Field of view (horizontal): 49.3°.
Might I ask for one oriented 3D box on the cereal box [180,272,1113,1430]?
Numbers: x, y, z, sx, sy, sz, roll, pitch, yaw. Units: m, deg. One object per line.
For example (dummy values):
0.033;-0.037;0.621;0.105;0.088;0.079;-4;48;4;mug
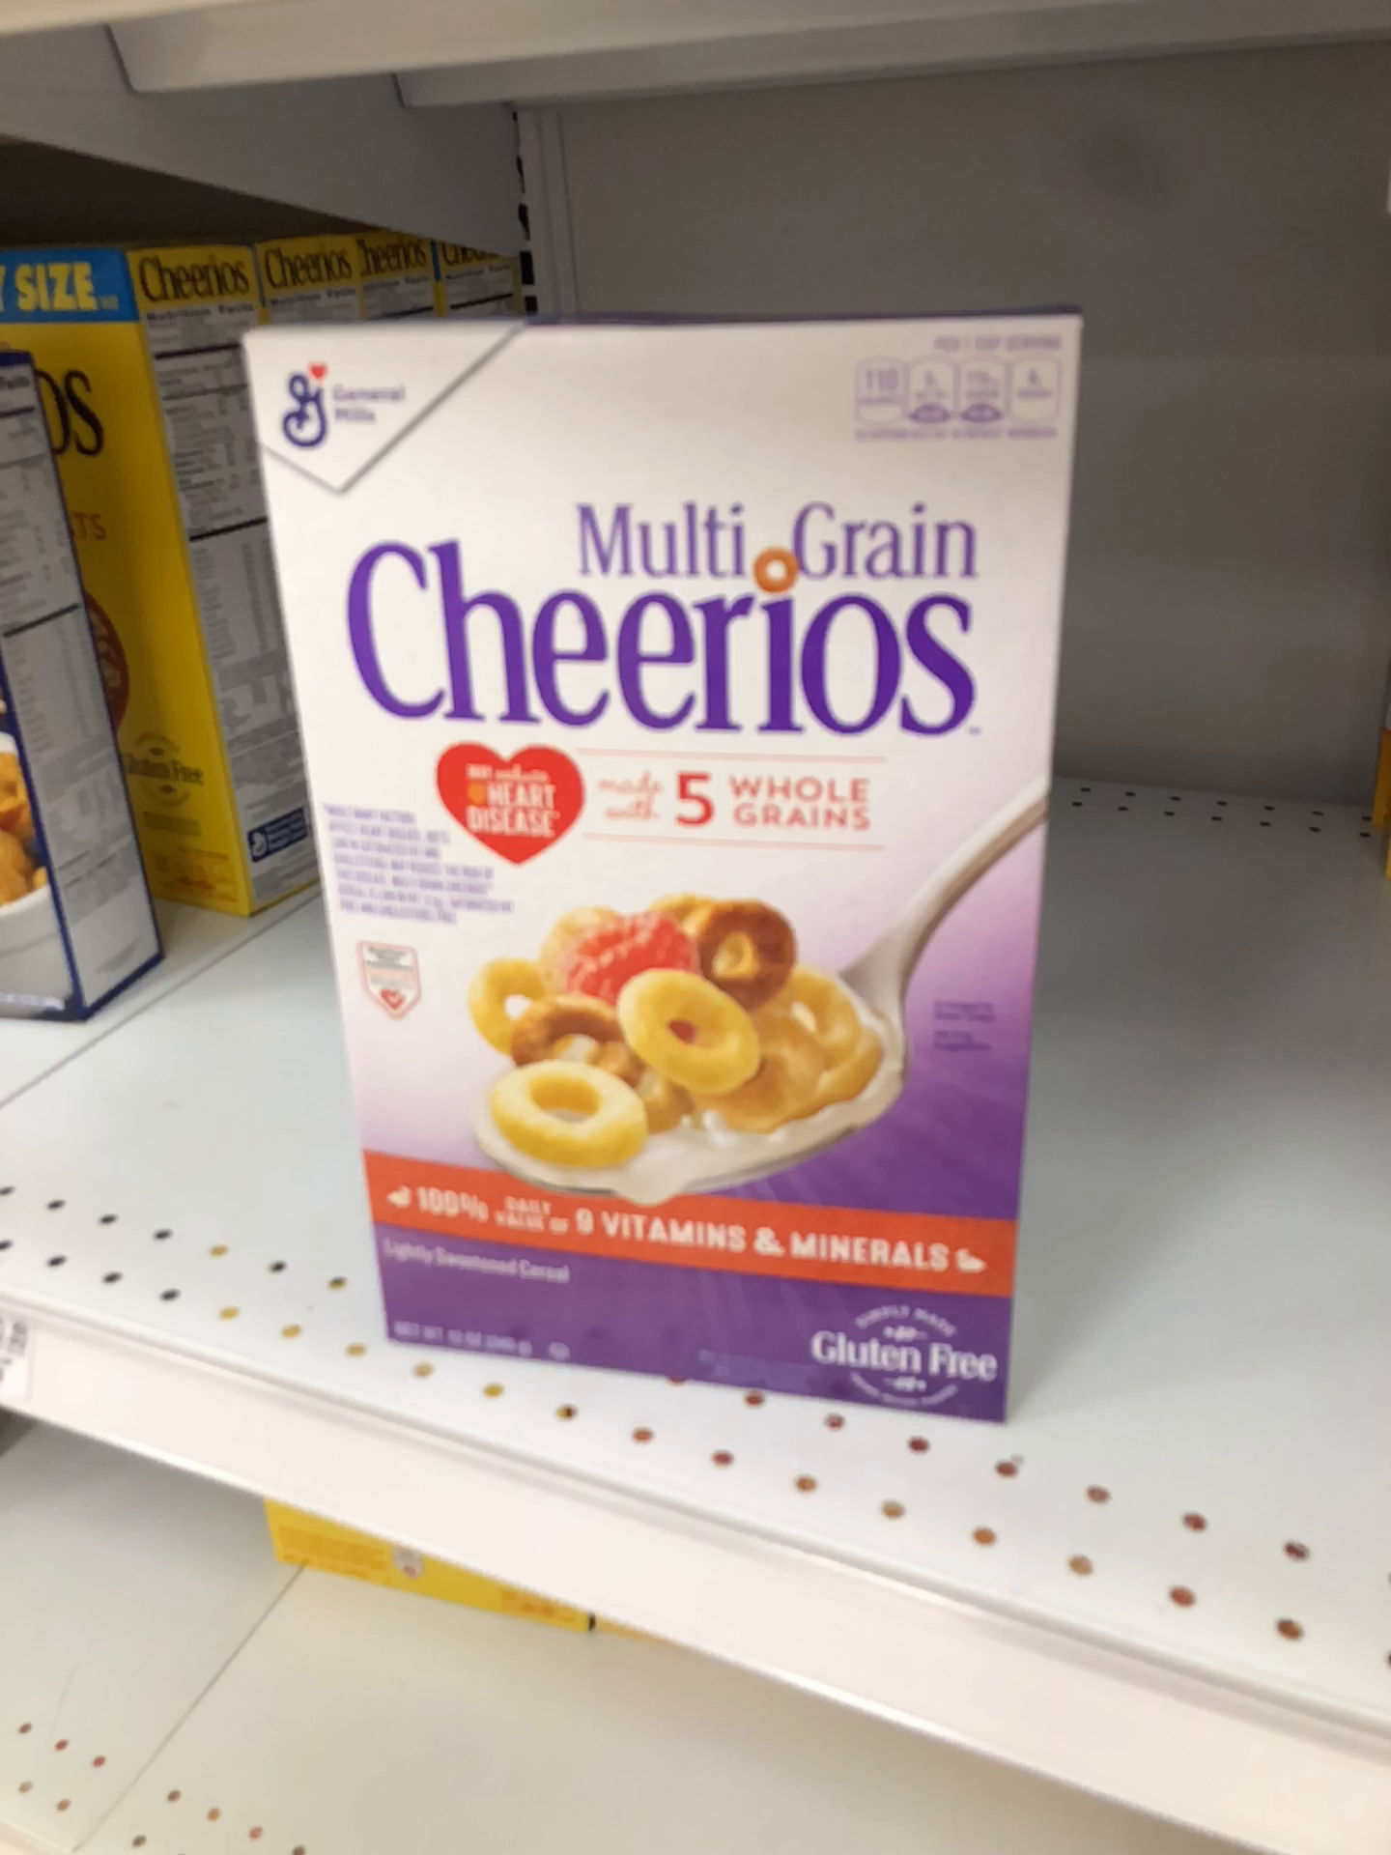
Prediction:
-0.004;-0.015;0.422;0.210;0.299;0.070;4;25;13;cereal box
